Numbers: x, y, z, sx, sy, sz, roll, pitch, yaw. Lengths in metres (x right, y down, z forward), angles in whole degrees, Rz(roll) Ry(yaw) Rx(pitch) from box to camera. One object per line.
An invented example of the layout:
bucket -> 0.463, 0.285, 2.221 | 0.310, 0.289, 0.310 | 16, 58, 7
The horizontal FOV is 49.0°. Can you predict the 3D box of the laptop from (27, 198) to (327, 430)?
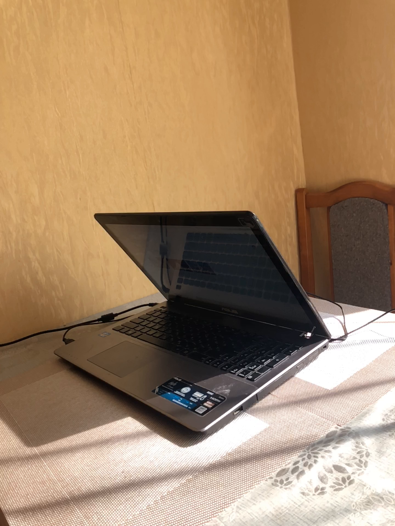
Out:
laptop -> -0.046, 0.031, 0.646 | 0.243, 0.197, 0.370 | -20, 17, -38
